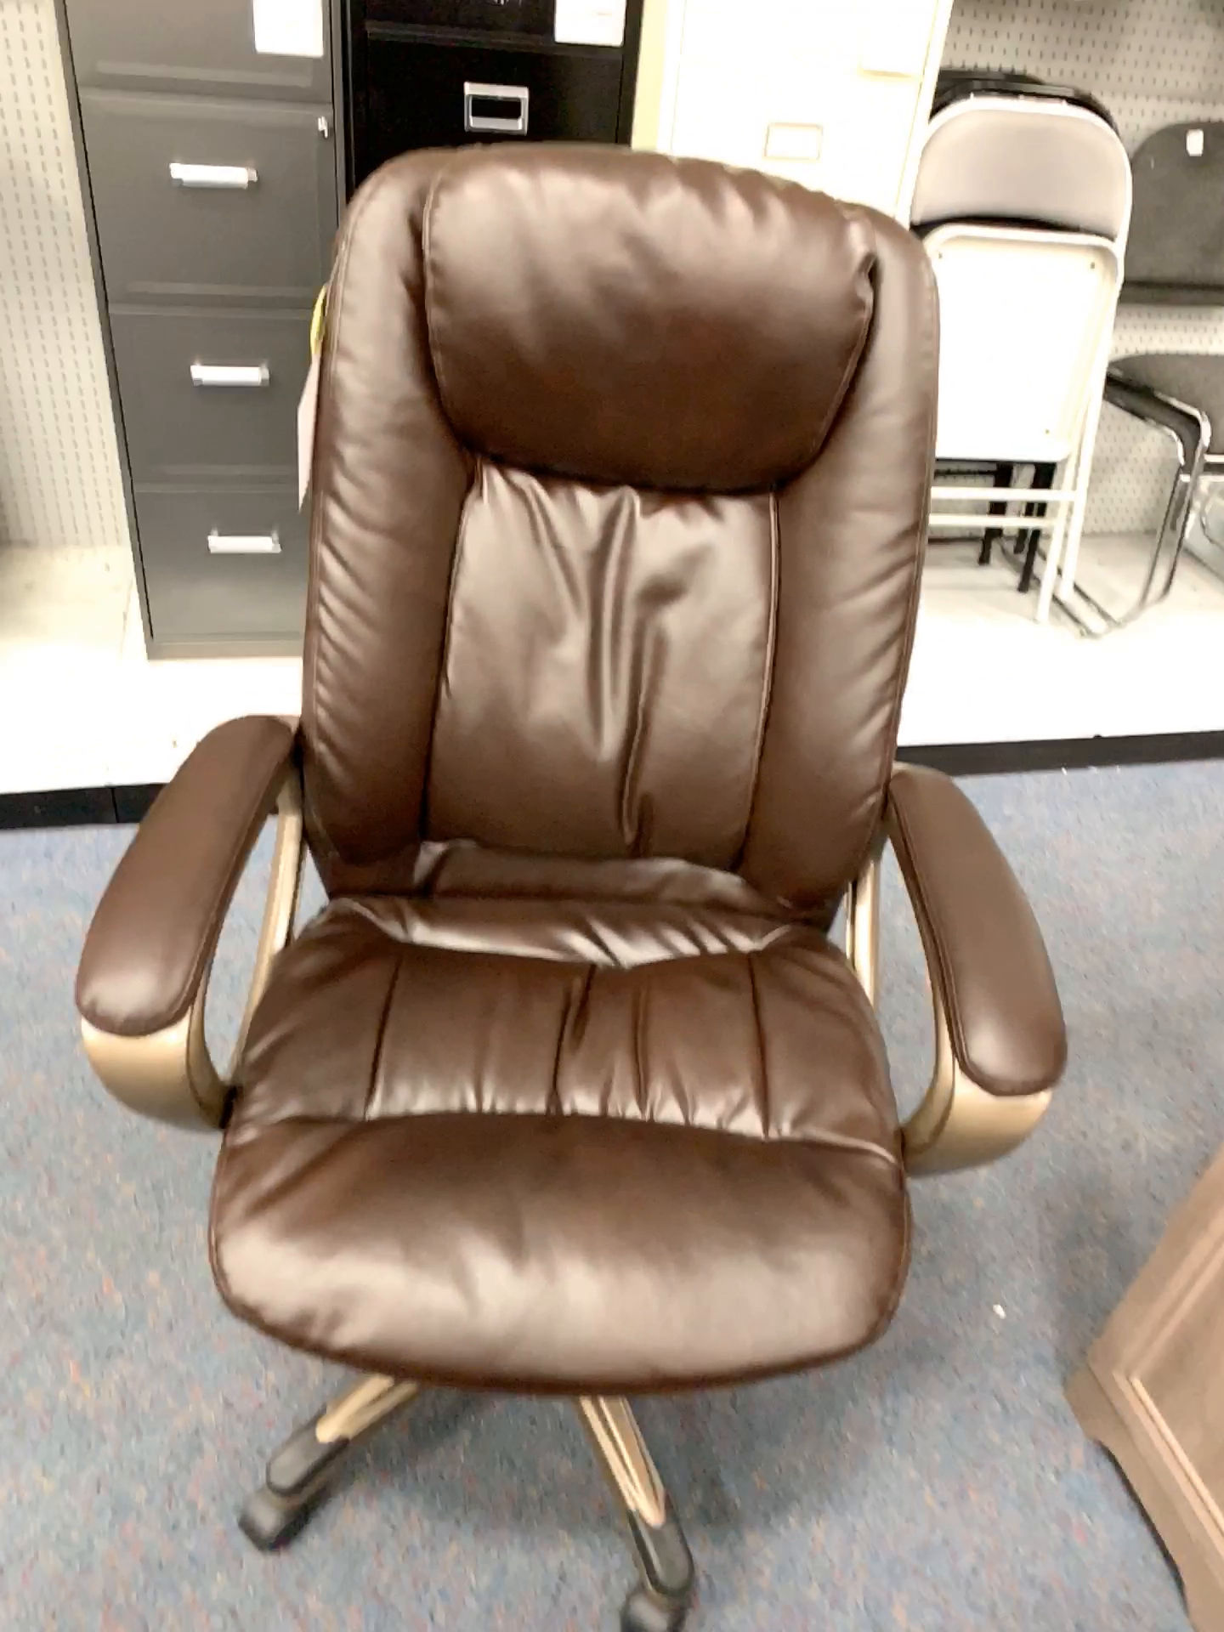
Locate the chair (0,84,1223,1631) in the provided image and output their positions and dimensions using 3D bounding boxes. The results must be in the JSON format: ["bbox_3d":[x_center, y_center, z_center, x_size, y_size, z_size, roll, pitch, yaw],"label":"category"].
[{"bbox_3d":[-0.022,0.084,1.118,0.724,1.112,0.815,6,38,-1],"label":"chair"}]
